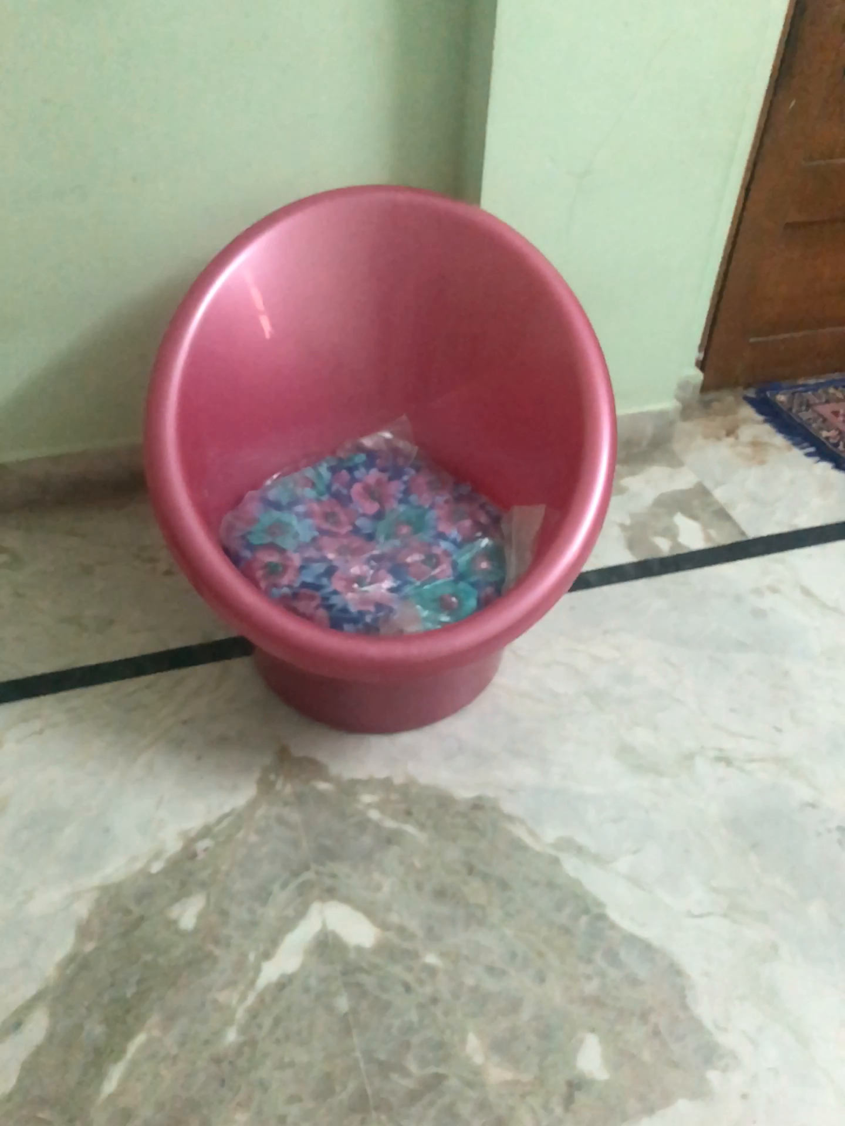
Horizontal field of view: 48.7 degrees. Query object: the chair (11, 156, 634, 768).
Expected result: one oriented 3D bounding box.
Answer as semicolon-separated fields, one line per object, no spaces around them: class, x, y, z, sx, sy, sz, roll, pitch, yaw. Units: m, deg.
chair;-0.073;-0.182;1.369;0.640;0.546;0.665;7;40;5
